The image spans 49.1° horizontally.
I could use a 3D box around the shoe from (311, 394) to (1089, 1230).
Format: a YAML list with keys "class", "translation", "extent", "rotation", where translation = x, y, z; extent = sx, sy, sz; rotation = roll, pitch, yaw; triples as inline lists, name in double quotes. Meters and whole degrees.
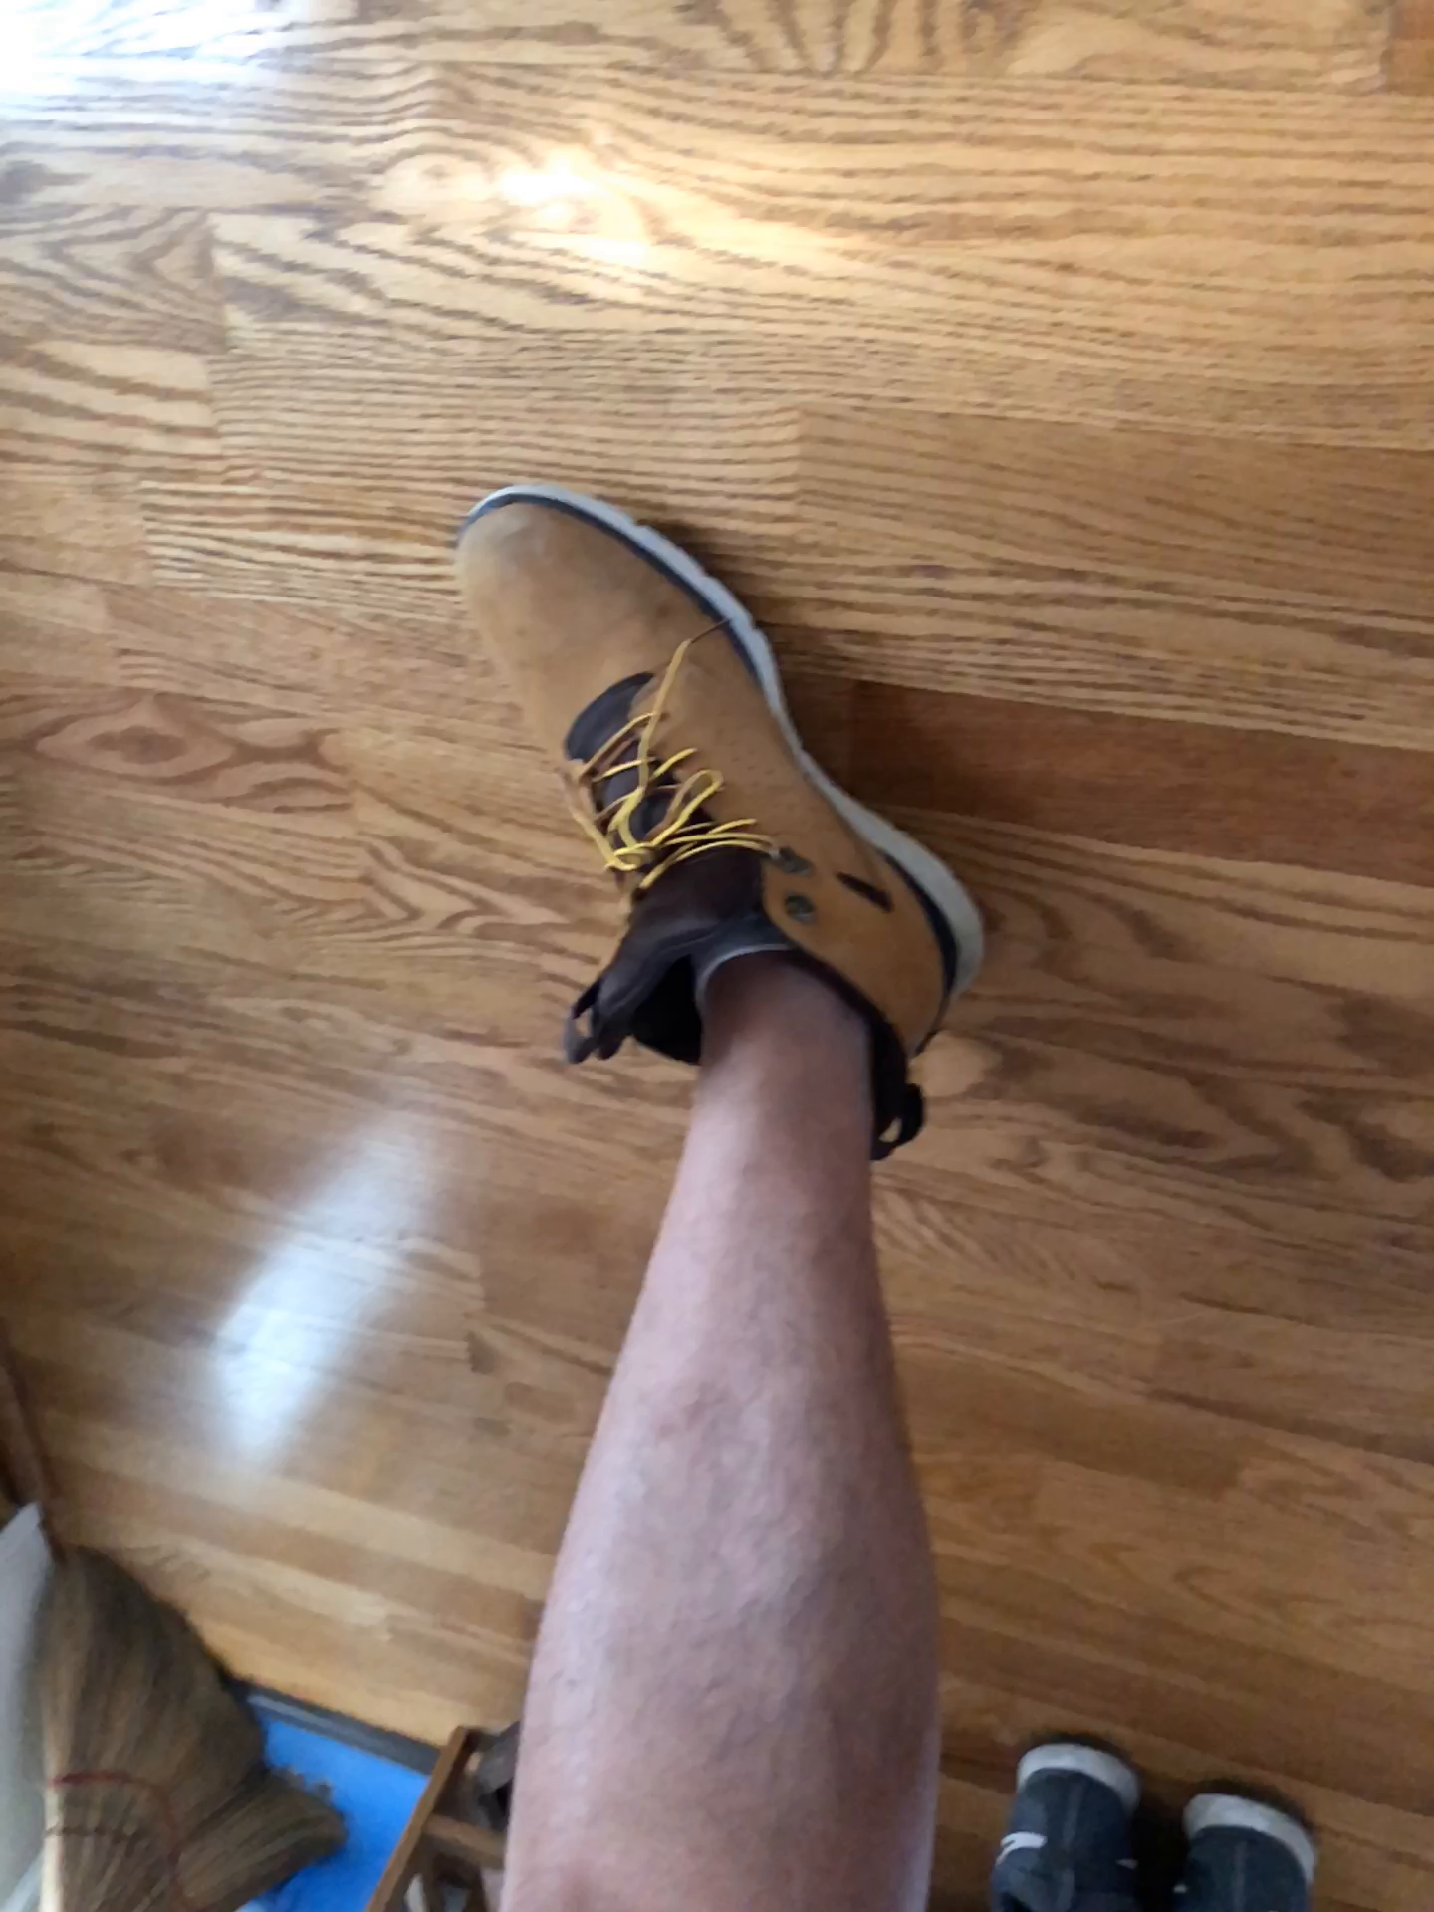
- class: "shoe"
  translation: [0.001, -0.067, 0.669]
  extent: [0.120, 0.149, 0.310]
  rotation: [-35, 92, 35]
